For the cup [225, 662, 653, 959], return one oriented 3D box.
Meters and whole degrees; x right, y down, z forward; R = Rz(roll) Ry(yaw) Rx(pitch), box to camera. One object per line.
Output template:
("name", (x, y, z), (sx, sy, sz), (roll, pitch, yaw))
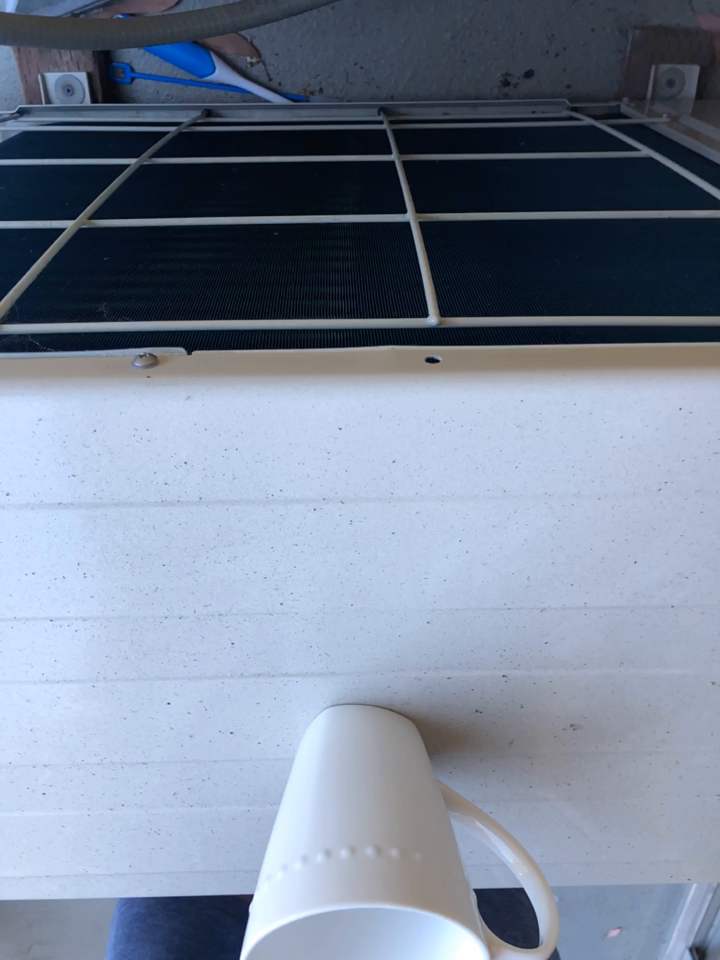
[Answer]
("cup", (0.023, 0.156, 0.340), (0.140, 0.099, 0.101), (7, 121, -8))
